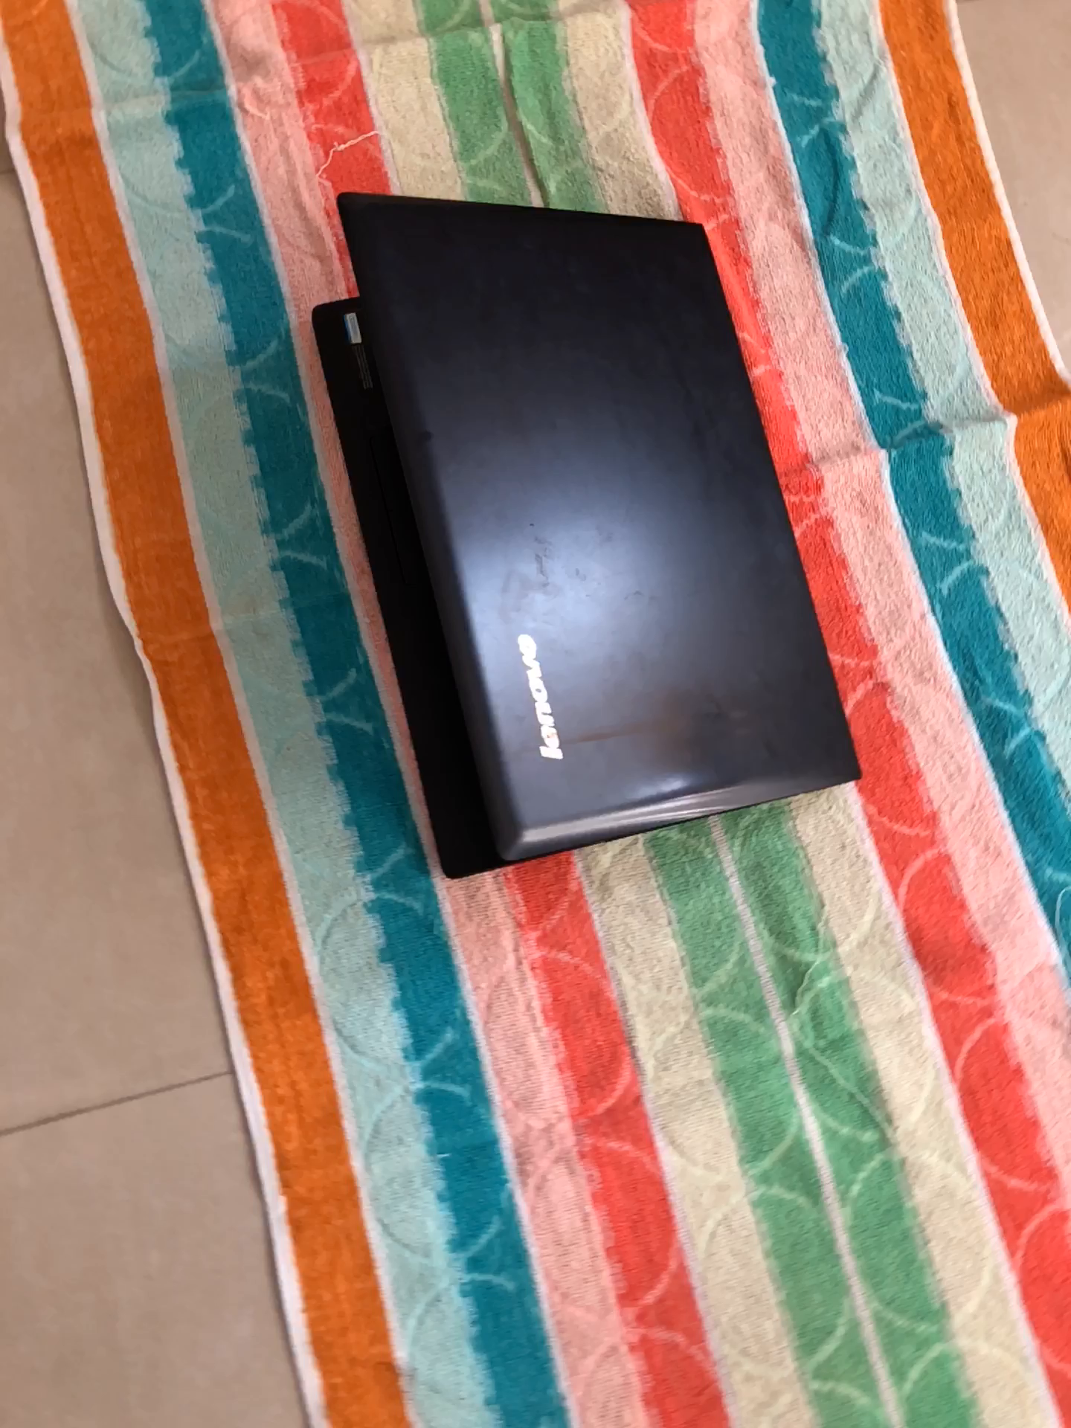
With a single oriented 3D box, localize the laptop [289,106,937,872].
[{"bbox_3d":[0.035,-0.122,0.667,0.253,0.126,0.363,-14,82,-8],"label":"laptop"}]
